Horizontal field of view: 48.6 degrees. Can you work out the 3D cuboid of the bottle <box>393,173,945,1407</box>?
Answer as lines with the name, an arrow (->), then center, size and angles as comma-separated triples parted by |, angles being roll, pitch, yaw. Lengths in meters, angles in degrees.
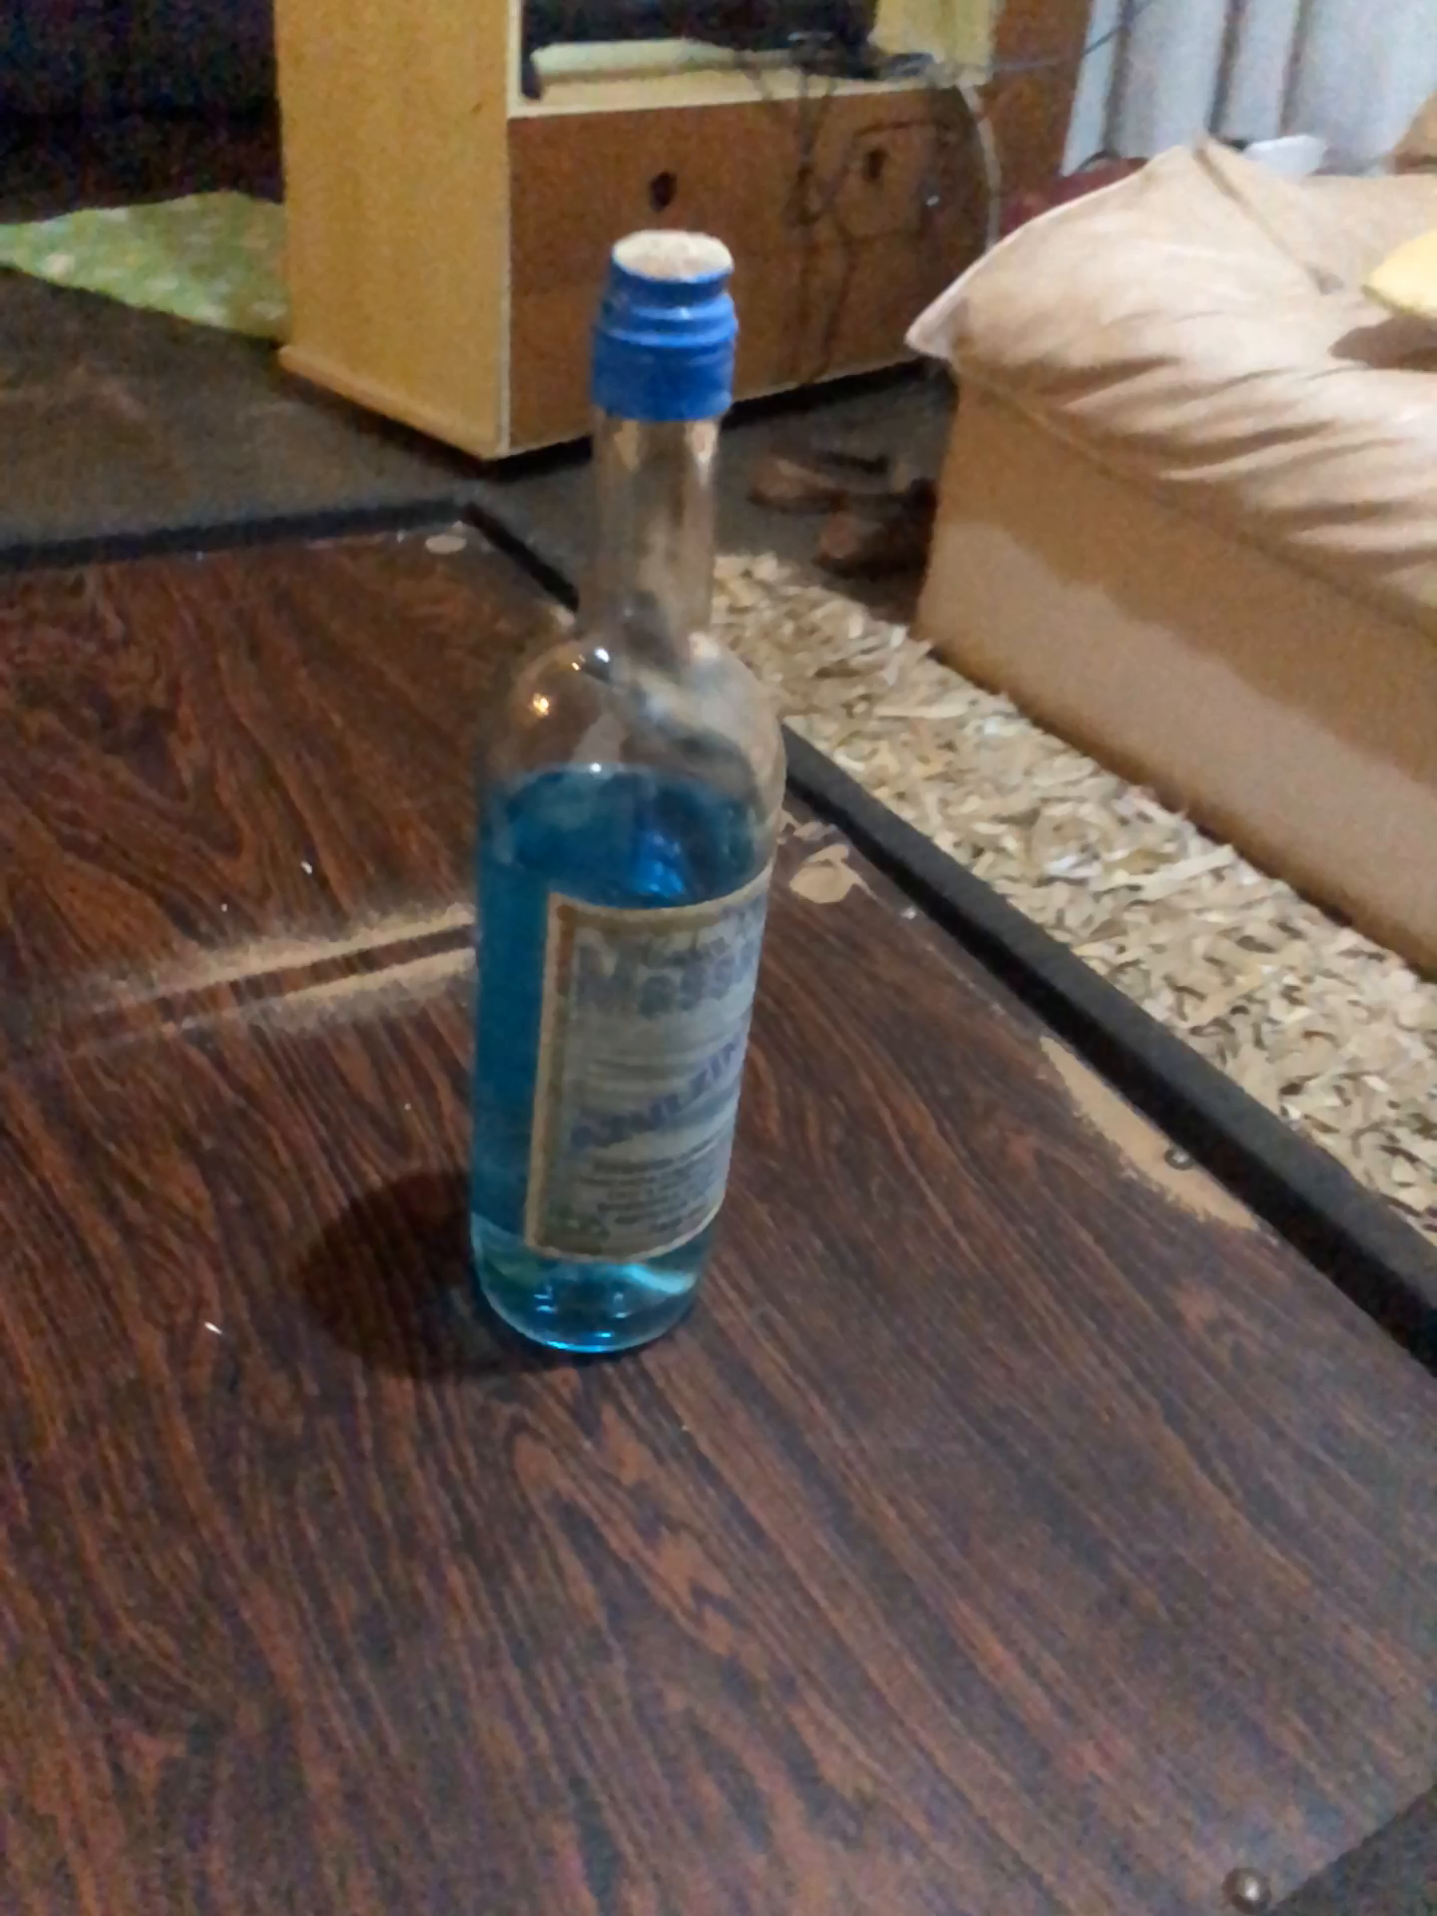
bottle -> -0.023, -0.029, 0.408 | 0.080, 0.298, 0.080 | 4, 34, -3
